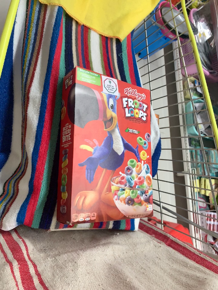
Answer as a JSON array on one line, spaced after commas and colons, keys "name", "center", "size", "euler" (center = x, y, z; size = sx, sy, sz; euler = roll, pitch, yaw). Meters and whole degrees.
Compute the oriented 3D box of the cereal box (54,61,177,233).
[{"name": "cereal box", "center": [0.020, 0.010, 0.401], "size": [0.211, 0.060, 0.250], "euler": [8, 77, -33]}]
